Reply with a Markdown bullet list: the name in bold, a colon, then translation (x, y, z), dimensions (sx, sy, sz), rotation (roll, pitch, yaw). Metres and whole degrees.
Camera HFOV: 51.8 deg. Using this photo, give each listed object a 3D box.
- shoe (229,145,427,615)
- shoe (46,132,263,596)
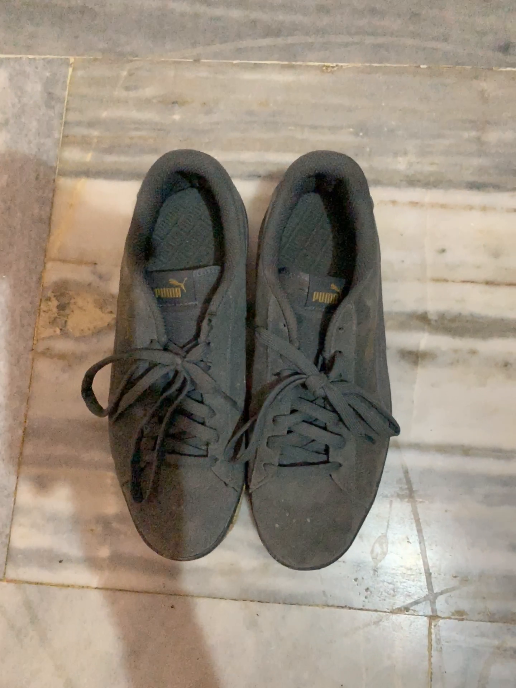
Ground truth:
- **shoe**: translation (0.049, 0.020, 0.384), dimensions (0.110, 0.100, 0.290), rotation (4, 82, 3)
- **shoe**: translation (-0.062, 0.010, 0.387), dimensions (0.110, 0.100, 0.290), rotation (4, 82, 3)
